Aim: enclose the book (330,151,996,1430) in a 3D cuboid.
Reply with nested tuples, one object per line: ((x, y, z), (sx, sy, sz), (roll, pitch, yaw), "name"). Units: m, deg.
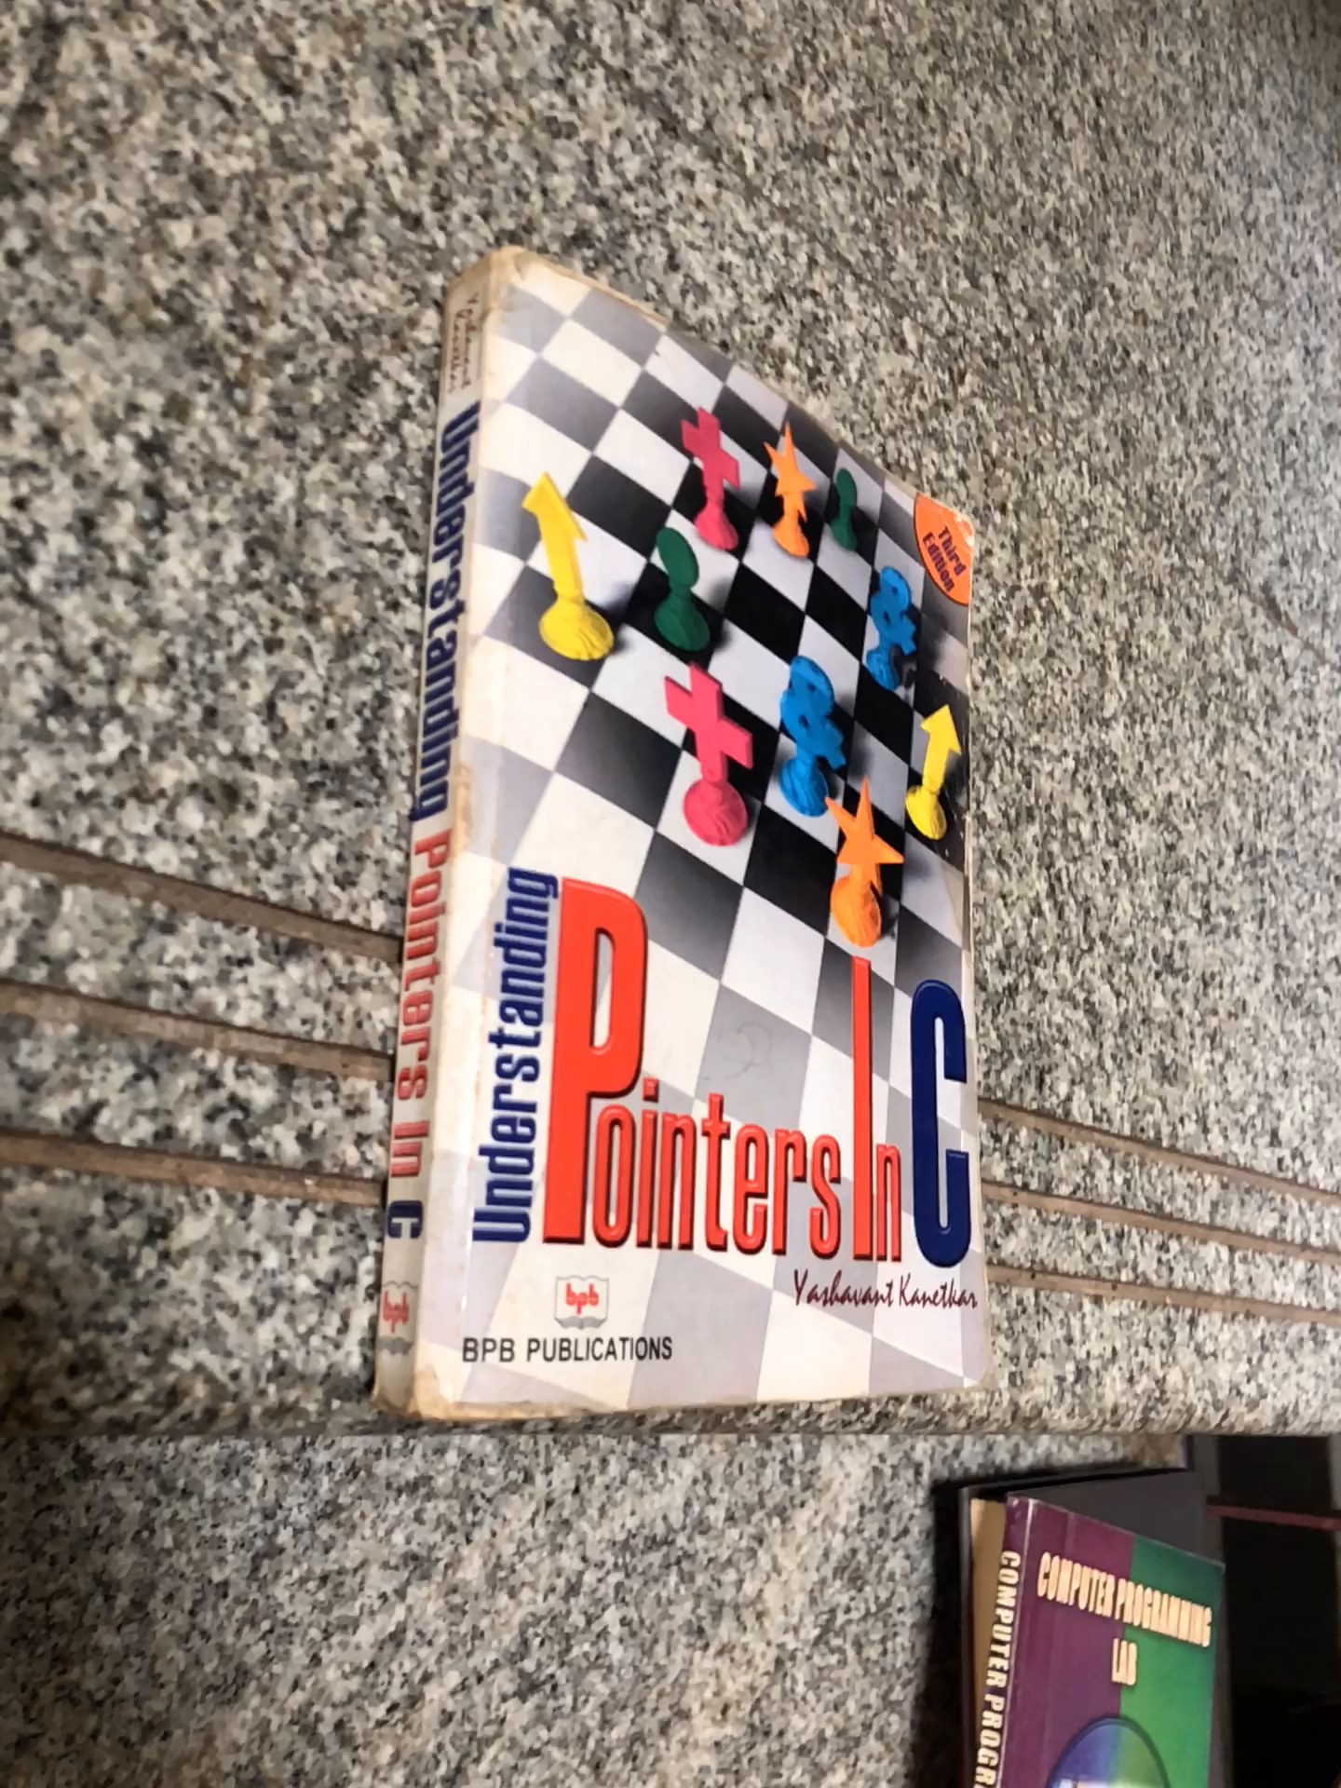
((0.009, -0.013, 0.299), (0.141, 0.030, 0.220), (15, 69, -42), "book")
